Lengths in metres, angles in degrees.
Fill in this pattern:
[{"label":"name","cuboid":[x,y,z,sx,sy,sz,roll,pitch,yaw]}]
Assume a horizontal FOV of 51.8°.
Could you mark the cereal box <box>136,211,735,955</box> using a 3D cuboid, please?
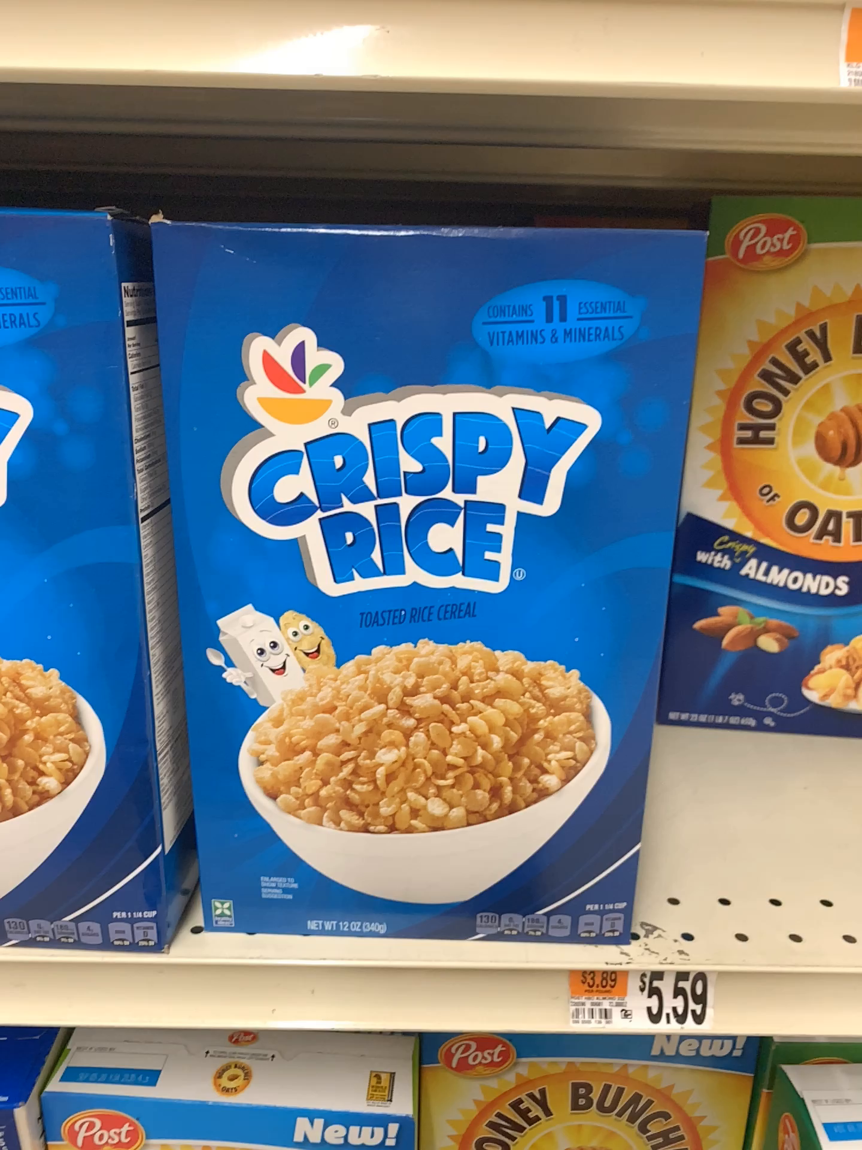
[{"label":"cereal box","cuboid":[-0.002,0.013,0.397,0.210,0.319,0.070,1,19,0]}]
